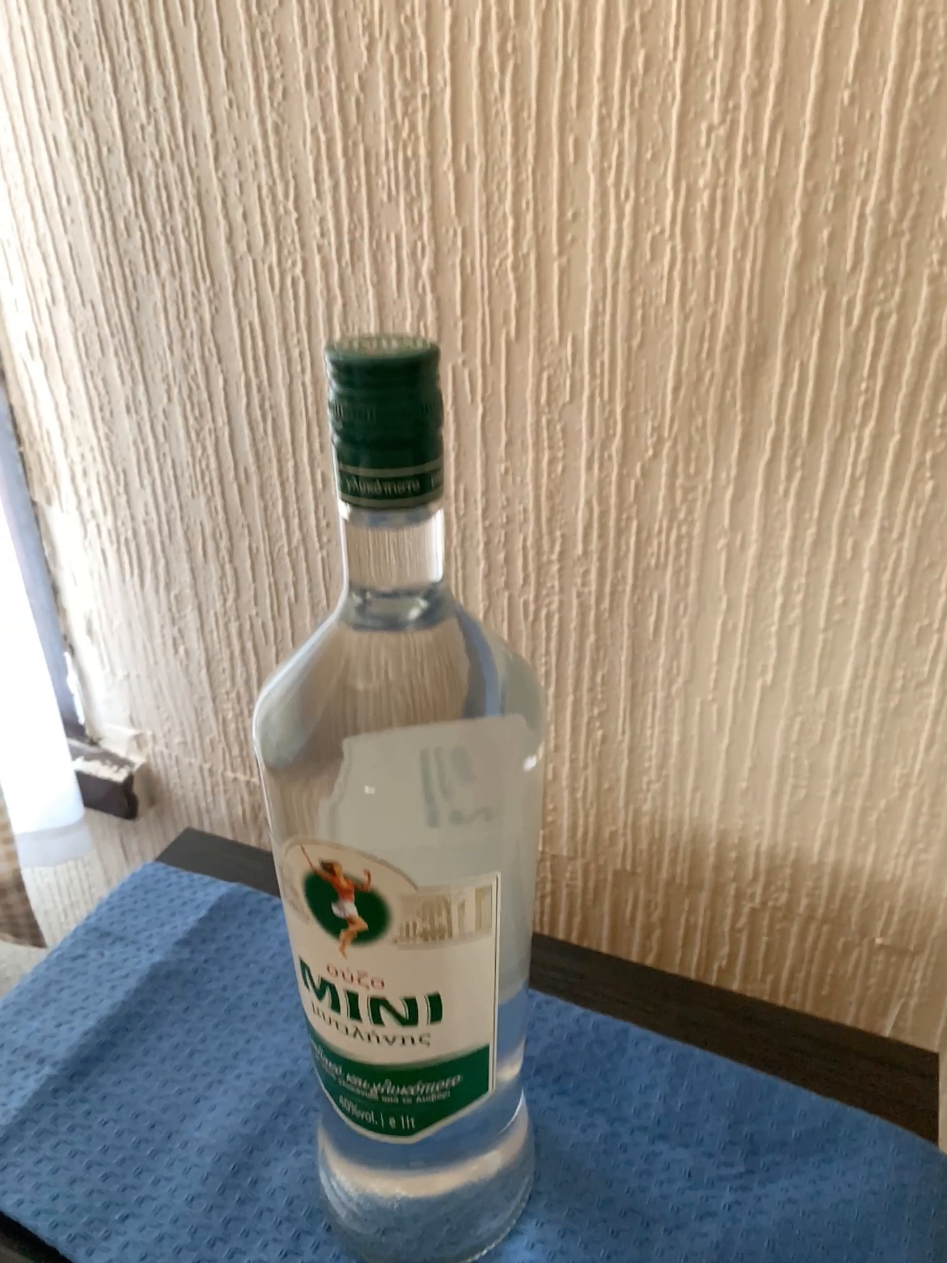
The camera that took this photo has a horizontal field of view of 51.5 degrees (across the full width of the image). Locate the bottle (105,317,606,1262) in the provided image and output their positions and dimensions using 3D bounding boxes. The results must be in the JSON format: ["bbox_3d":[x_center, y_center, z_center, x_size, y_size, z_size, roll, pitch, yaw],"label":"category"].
[{"bbox_3d":[-0.021,0.078,0.298,0.090,0.317,0.071,12,31,22],"label":"bottle"}]
